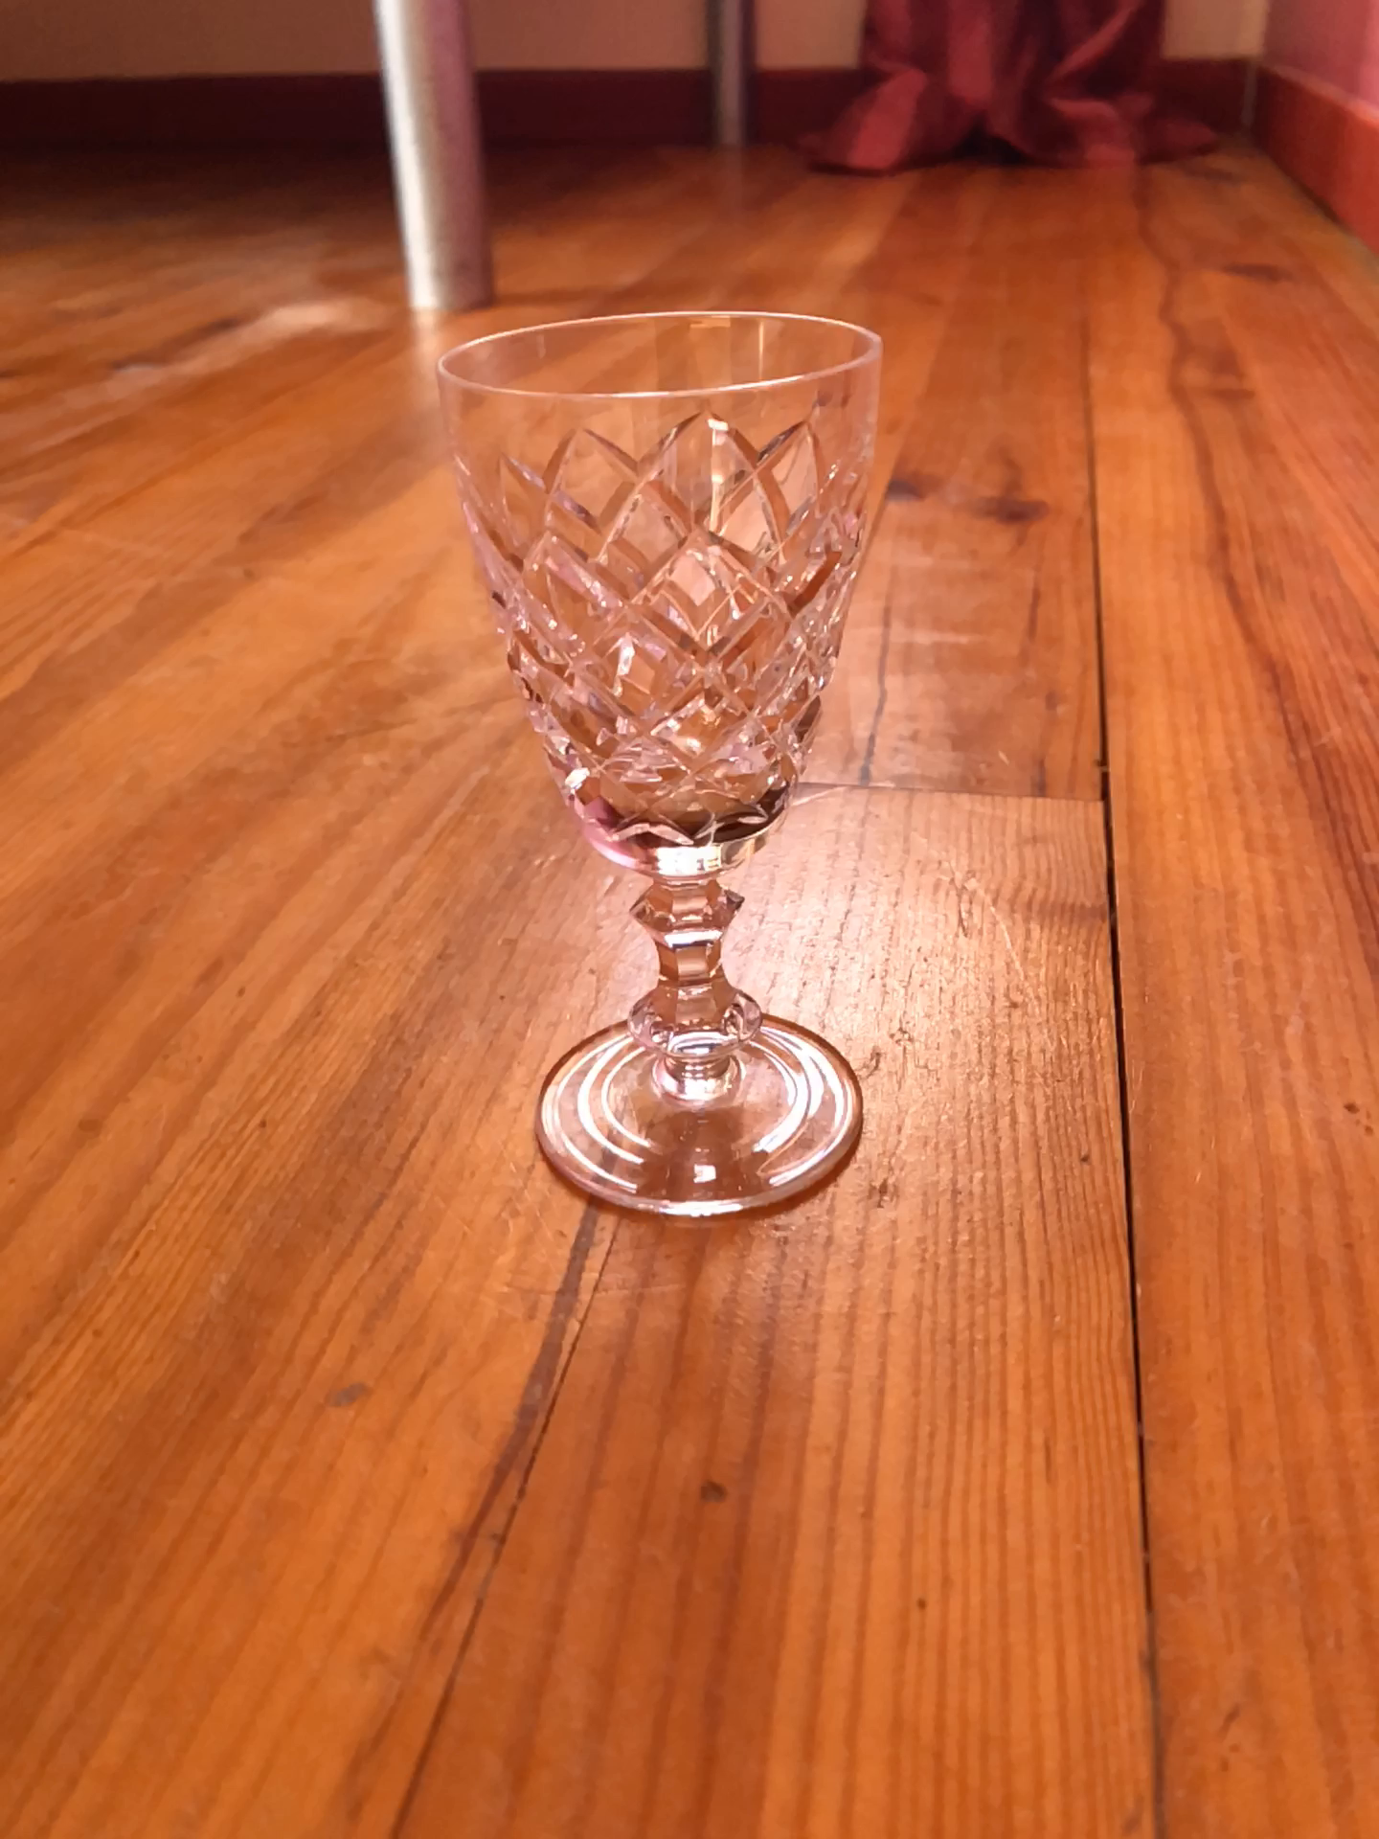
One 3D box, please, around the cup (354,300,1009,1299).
[{"bbox_3d":[-0.001,-0.019,0.210,0.059,0.113,0.056,-2,29,1],"label":"cup"}]
